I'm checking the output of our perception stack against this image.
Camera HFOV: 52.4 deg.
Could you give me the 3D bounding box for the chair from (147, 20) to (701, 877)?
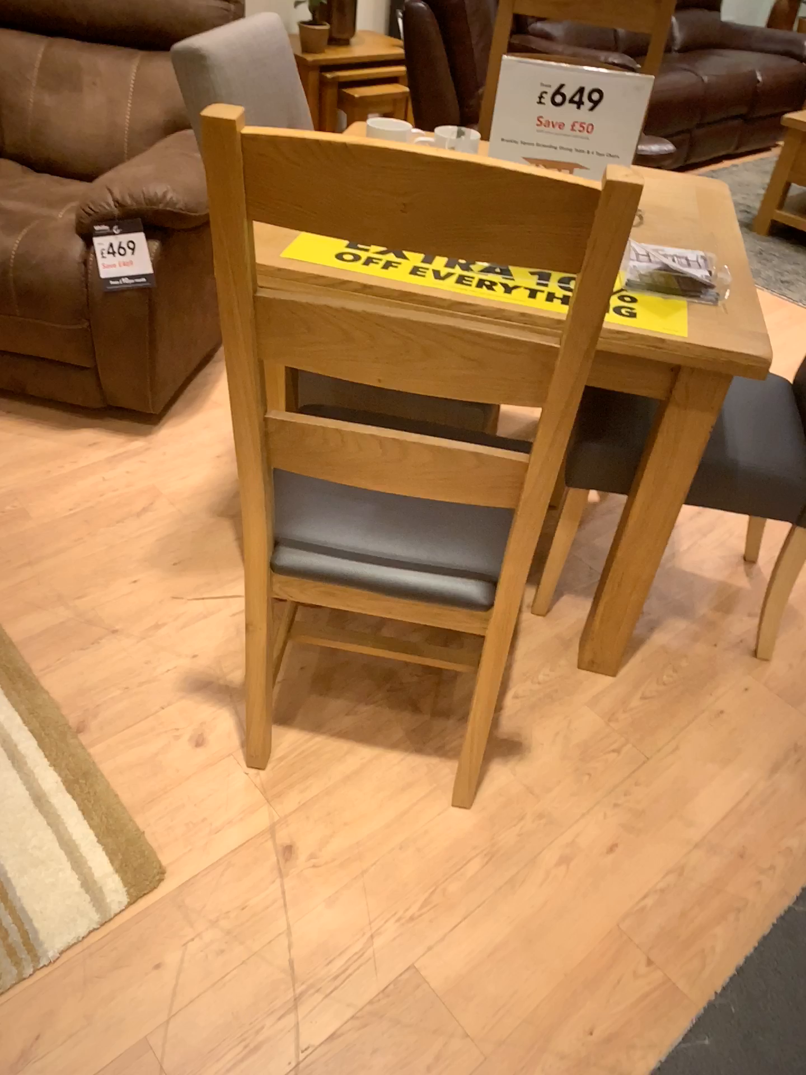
[{"bbox_3d":[0.015,-0.073,1.244,0.470,1.099,0.555,11,40,5],"label":"chair"}]
